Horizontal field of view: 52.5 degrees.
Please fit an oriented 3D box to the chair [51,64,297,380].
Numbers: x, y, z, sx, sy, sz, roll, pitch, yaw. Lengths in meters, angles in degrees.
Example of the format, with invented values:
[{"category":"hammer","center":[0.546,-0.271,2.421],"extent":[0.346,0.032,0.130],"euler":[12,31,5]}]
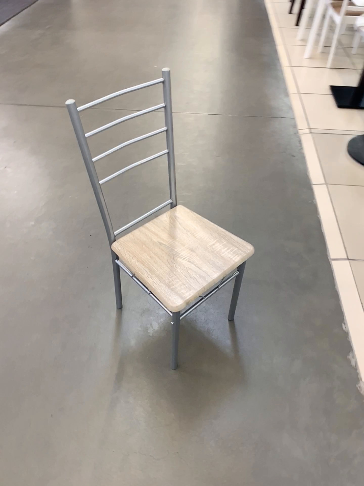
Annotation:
[{"category":"chair","center":[-0.033,-0.039,1.221],"extent":[0.411,0.836,0.471],"euler":[-32,53,-28]}]
